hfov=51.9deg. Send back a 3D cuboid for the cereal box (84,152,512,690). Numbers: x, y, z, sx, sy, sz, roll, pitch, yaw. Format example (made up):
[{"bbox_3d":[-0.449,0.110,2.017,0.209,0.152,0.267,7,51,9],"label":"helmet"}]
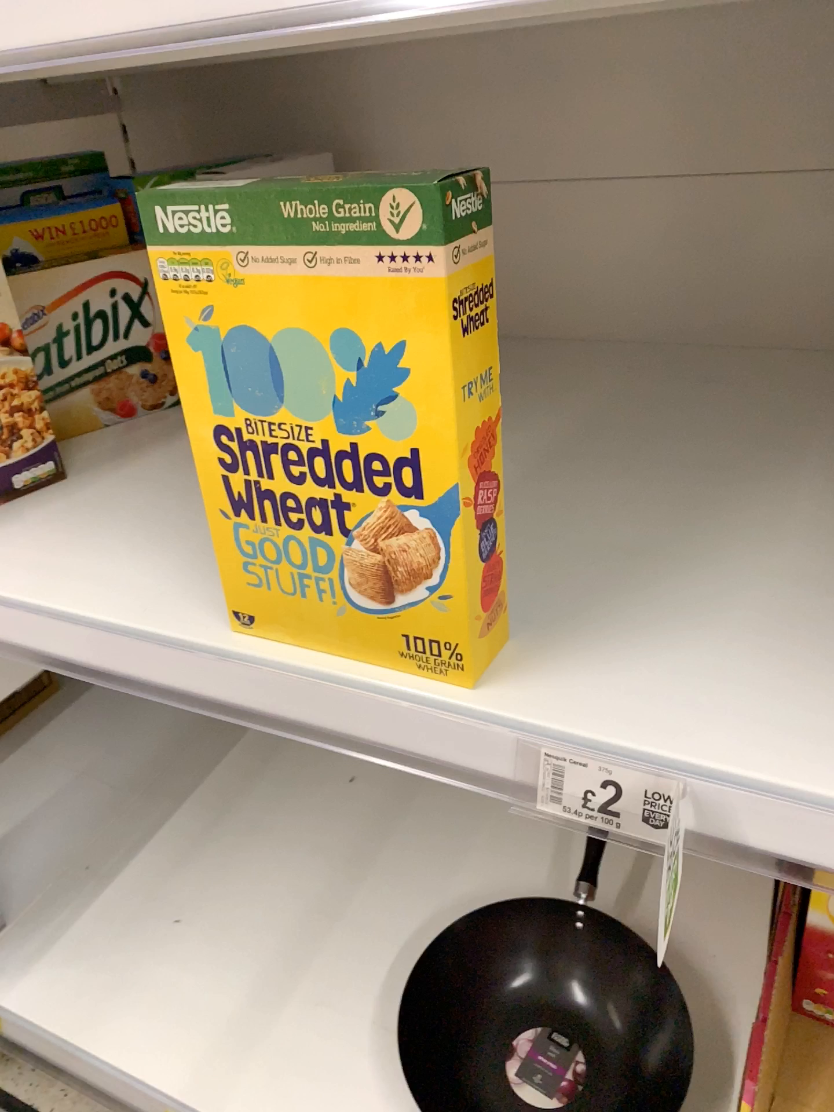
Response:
[{"bbox_3d":[-0.059,-0.078,0.507,0.210,0.278,0.071,10,31,27],"label":"cereal box"}]
